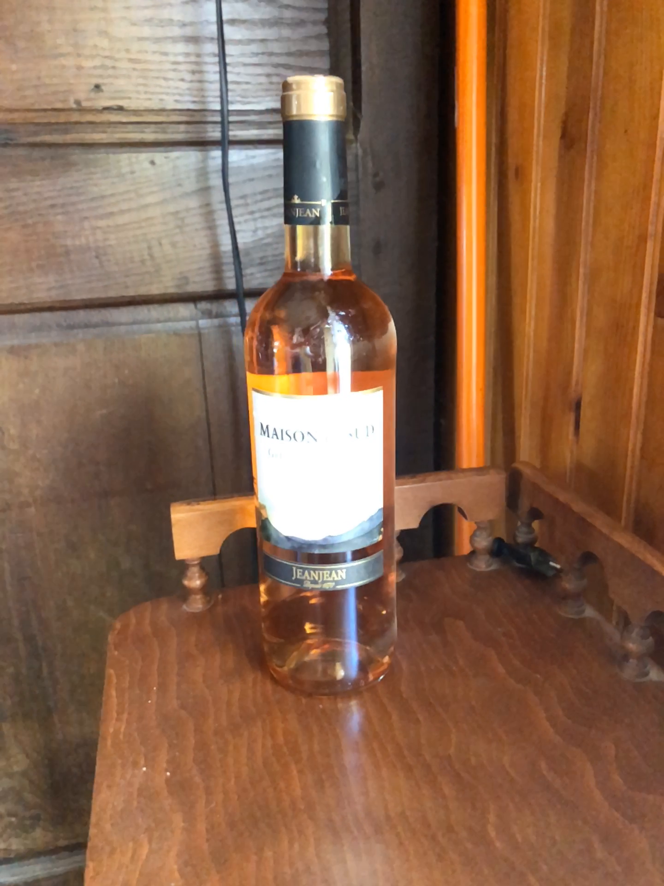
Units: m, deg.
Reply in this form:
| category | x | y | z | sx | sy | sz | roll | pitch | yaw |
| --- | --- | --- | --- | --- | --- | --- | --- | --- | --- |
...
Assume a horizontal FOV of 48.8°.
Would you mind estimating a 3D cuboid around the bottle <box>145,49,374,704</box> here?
| category | x | y | z | sx | sy | sz | roll | pitch | yaw |
| --- | --- | --- | --- | --- | --- | --- | --- | --- | --- |
| bottle | -0.023 | -0.019 | 0.352 | 0.080 | 0.289 | 0.070 | -1 | 19 | 4 |
